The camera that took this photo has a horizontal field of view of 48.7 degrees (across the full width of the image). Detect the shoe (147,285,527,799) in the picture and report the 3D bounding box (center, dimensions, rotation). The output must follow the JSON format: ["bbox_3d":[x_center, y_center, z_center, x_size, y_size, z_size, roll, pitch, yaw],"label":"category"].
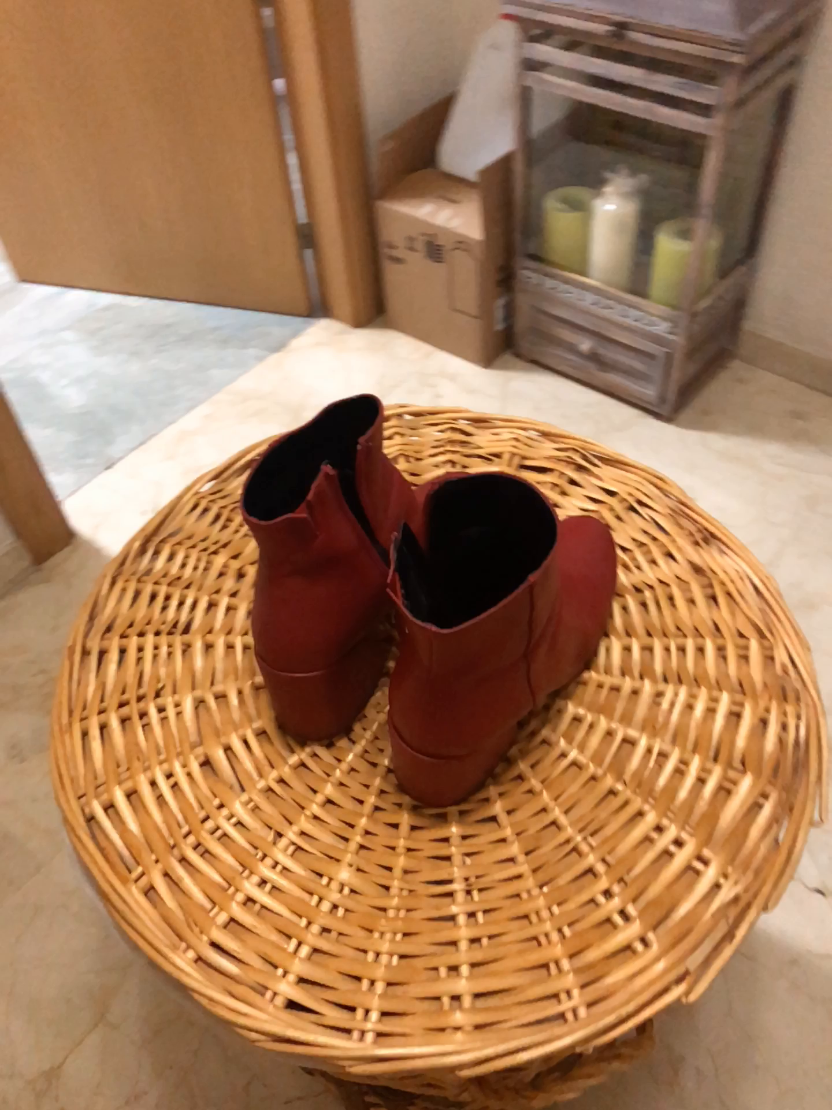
[{"bbox_3d":[-0.027,-0.013,0.571,0.099,0.184,0.245,19,53,20],"label":"shoe"}]

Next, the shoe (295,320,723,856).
[{"bbox_3d":[0.062,0.016,0.541,0.099,0.184,0.245,29,57,26],"label":"shoe"}]
